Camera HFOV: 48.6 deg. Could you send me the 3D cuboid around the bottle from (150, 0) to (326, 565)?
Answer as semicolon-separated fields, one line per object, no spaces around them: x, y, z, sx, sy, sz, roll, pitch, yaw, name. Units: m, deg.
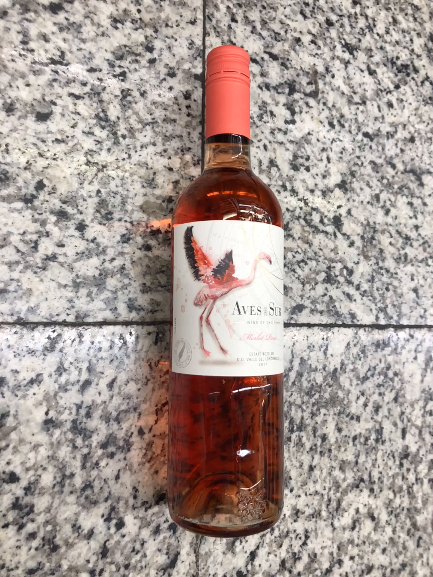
0.011;-0.012;0.332;0.090;0.070;0.340;1;85;-27;bottle
